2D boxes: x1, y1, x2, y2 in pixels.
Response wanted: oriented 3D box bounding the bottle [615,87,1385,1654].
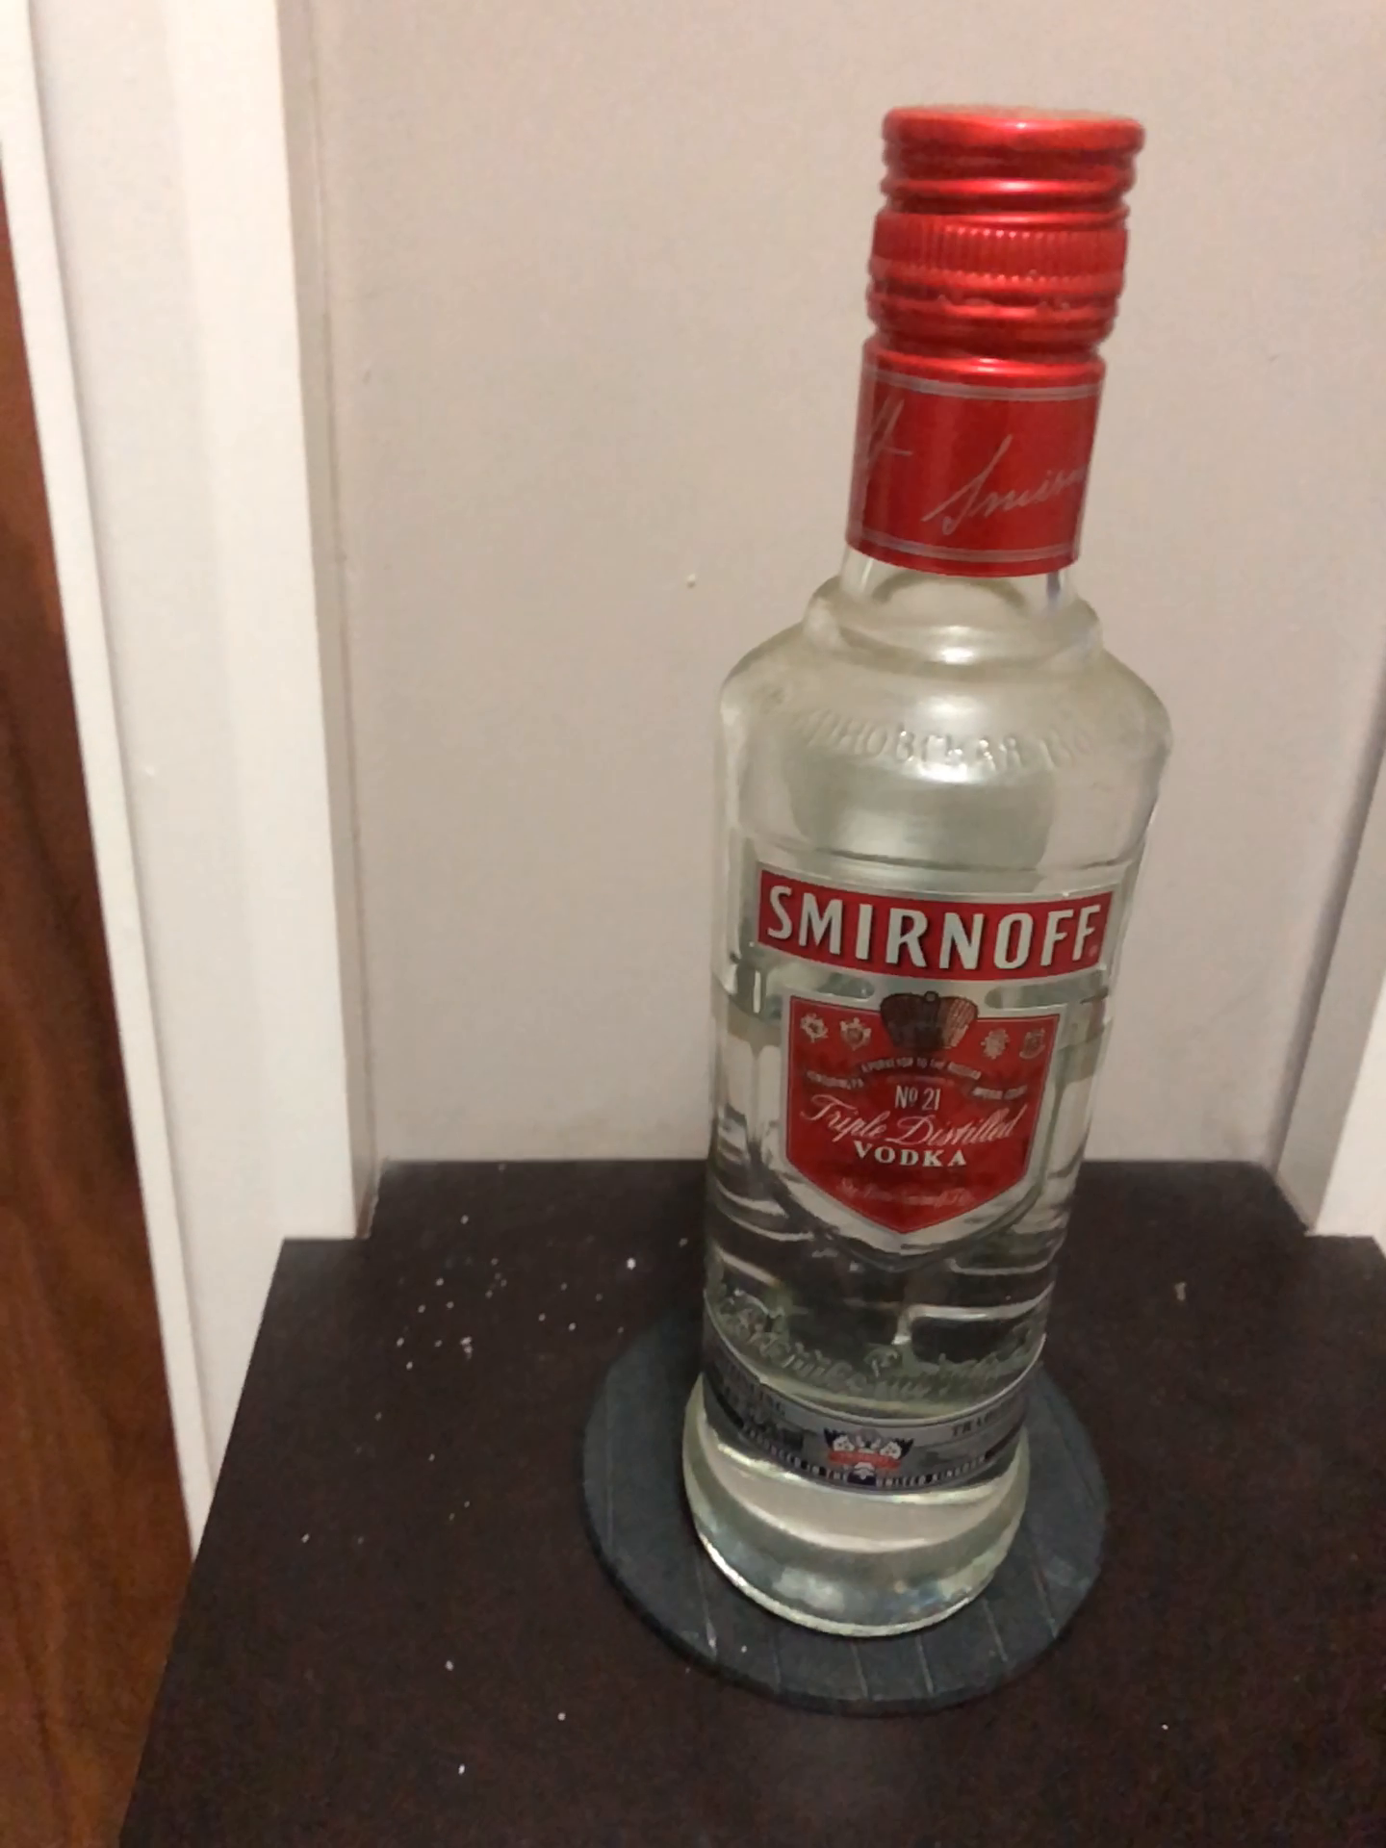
[{"bbox_3d":[0.030,0.001,0.231,0.070,0.218,0.071,2,27,-1],"label":"bottle"}]
